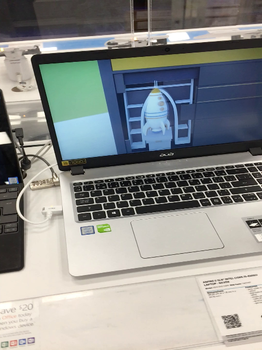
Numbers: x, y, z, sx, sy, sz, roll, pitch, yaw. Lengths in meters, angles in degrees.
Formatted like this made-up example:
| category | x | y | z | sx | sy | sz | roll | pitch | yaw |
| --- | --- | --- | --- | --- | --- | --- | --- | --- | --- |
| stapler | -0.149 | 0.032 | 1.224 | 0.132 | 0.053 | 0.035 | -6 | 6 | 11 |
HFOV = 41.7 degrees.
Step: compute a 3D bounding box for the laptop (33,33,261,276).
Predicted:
| category | x | y | z | sx | sy | sz | roll | pitch | yaw |
| --- | --- | --- | --- | --- | --- | --- | --- | --- | --- |
| laptop | 0.091 | -0.045 | 0.522 | 0.414 | 0.220 | 0.277 | -8 | 44 | -6 |
